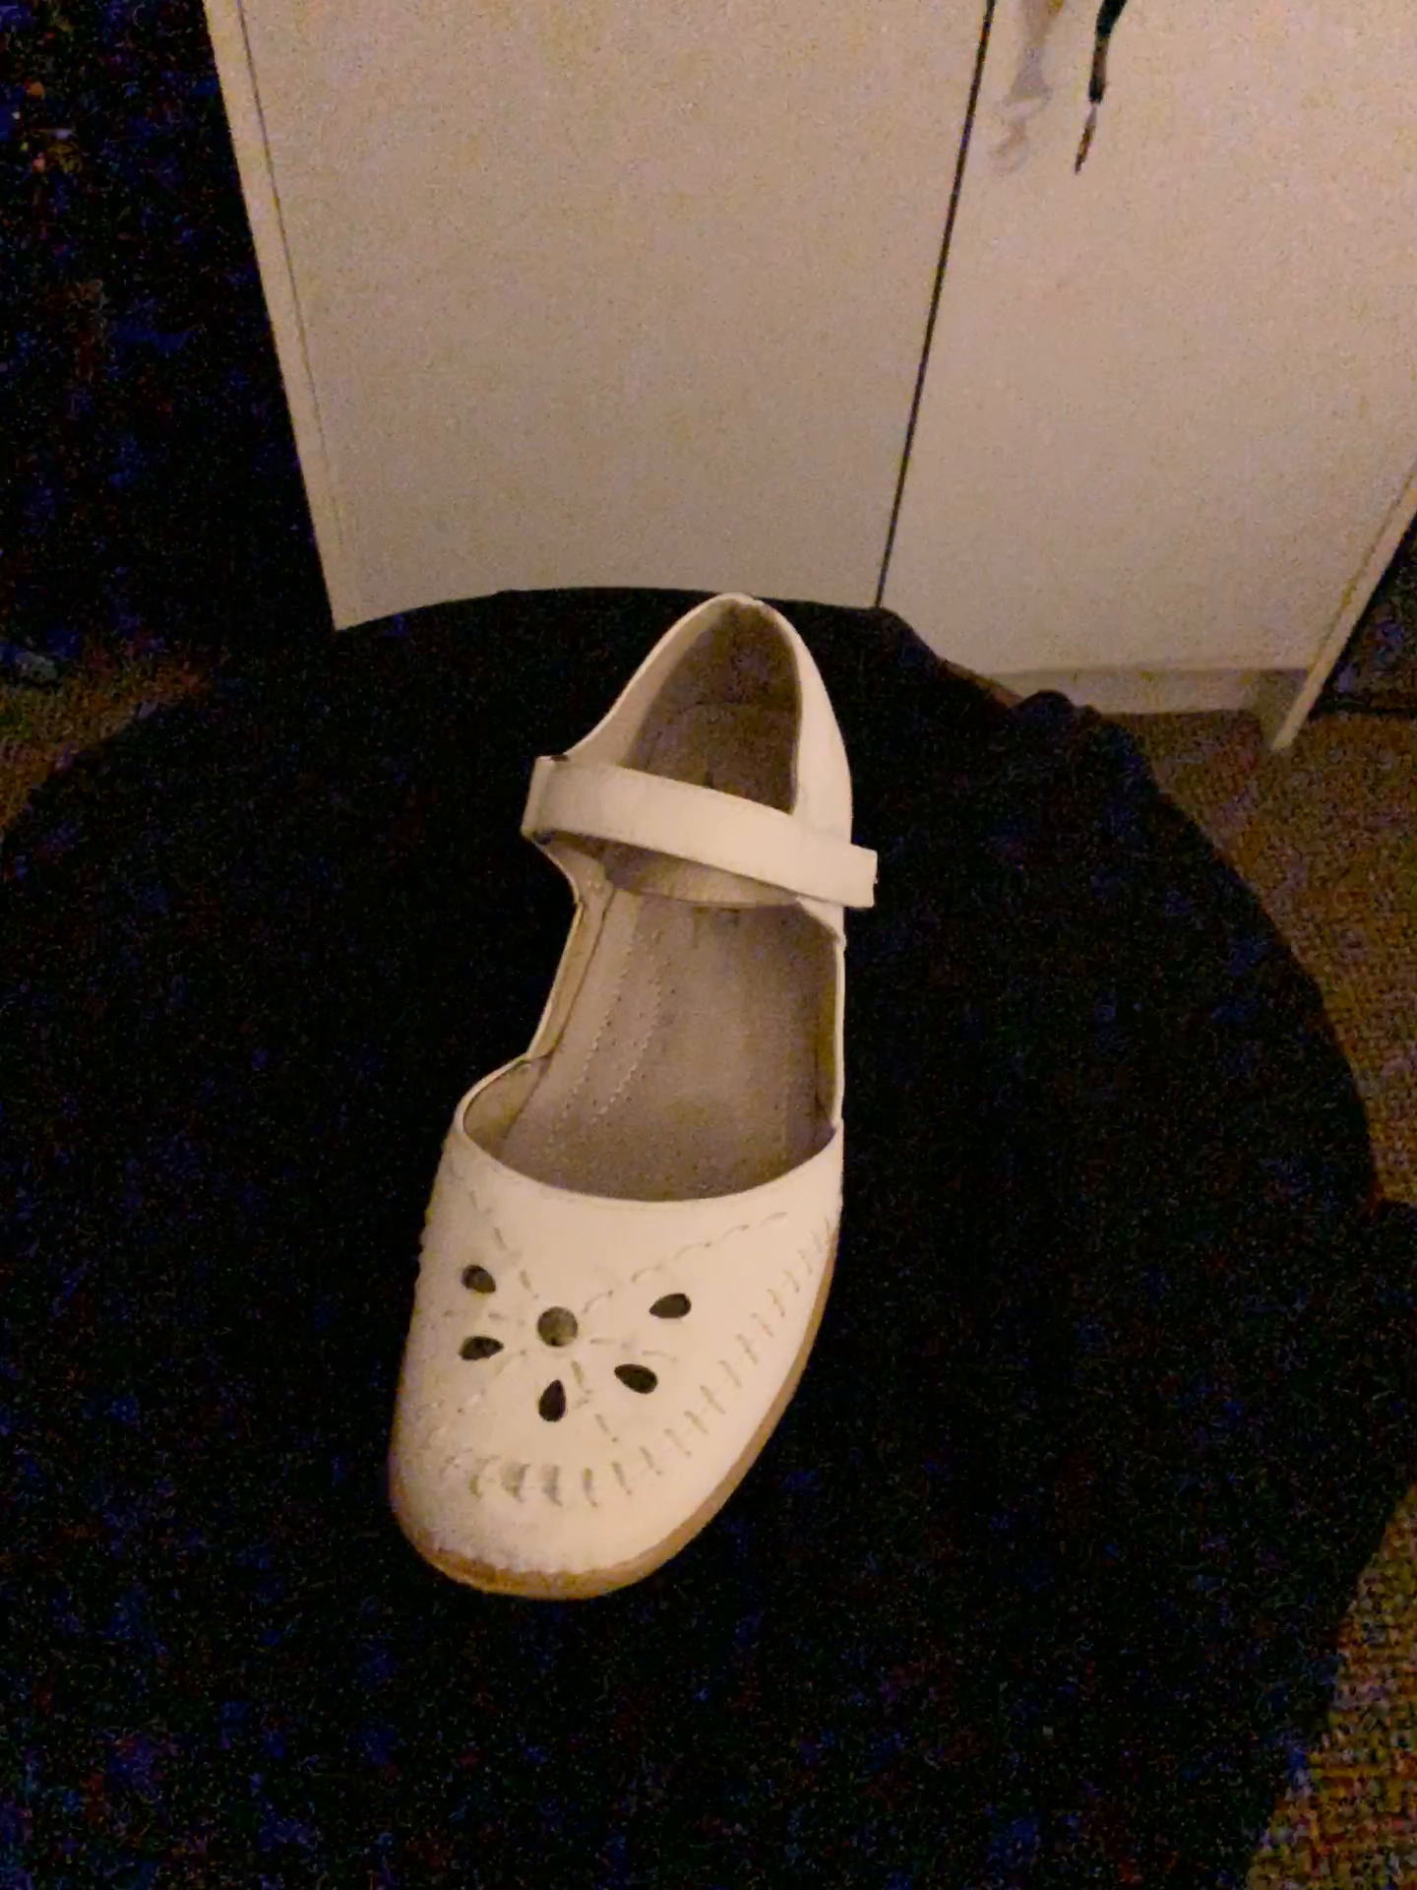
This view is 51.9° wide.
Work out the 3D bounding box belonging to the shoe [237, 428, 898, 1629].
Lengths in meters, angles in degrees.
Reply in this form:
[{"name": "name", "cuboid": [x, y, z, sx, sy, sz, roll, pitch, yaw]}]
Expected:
[{"name": "shoe", "cuboid": [-0.014, 0.002, 0.353, 0.097, 0.099, 0.272, 7, 53, 2]}]
